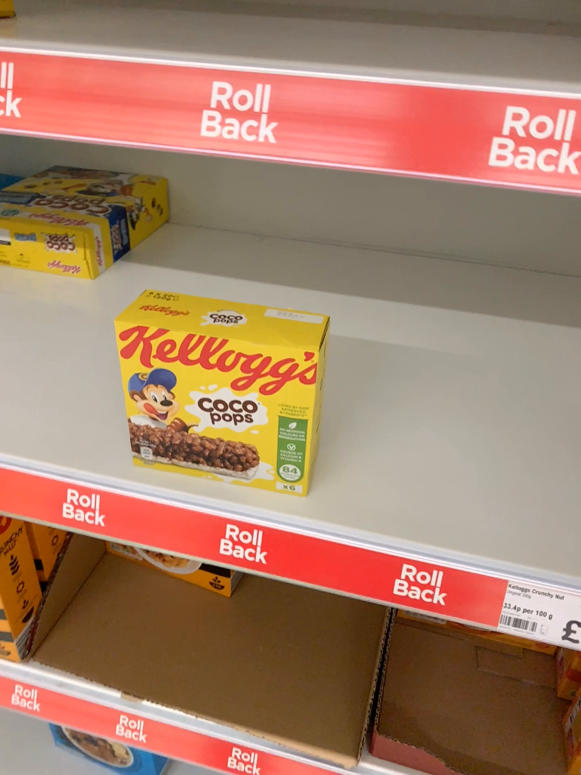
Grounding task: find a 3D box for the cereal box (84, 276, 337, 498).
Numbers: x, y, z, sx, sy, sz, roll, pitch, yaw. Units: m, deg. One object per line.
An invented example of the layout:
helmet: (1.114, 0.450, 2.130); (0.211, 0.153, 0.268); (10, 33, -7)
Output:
cereal box: (-0.051, -0.001, 0.416); (0.150, 0.119, 0.061); (9, 35, 9)
